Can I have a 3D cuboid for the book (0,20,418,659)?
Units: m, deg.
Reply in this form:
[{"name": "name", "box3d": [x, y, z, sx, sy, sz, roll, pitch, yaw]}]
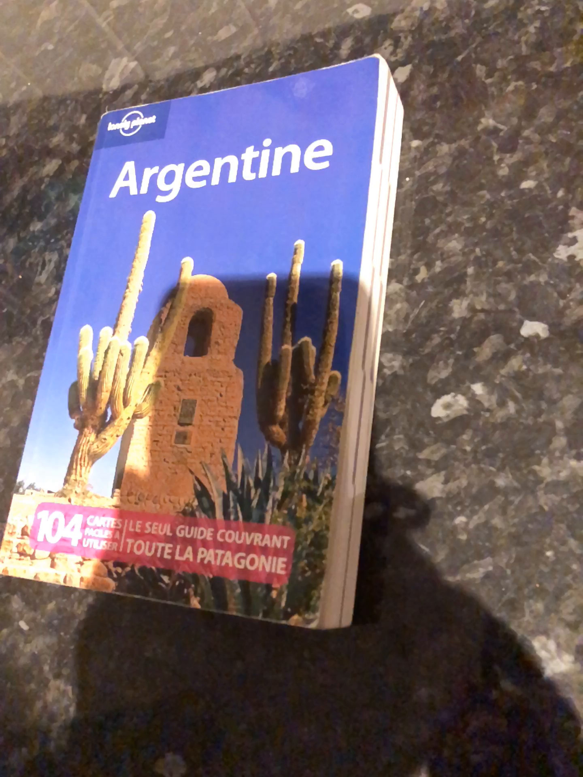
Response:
[{"name": "book", "box3d": [-0.029, -0.025, 0.238, 0.130, 0.030, 0.210, 1, 73, 24]}]
